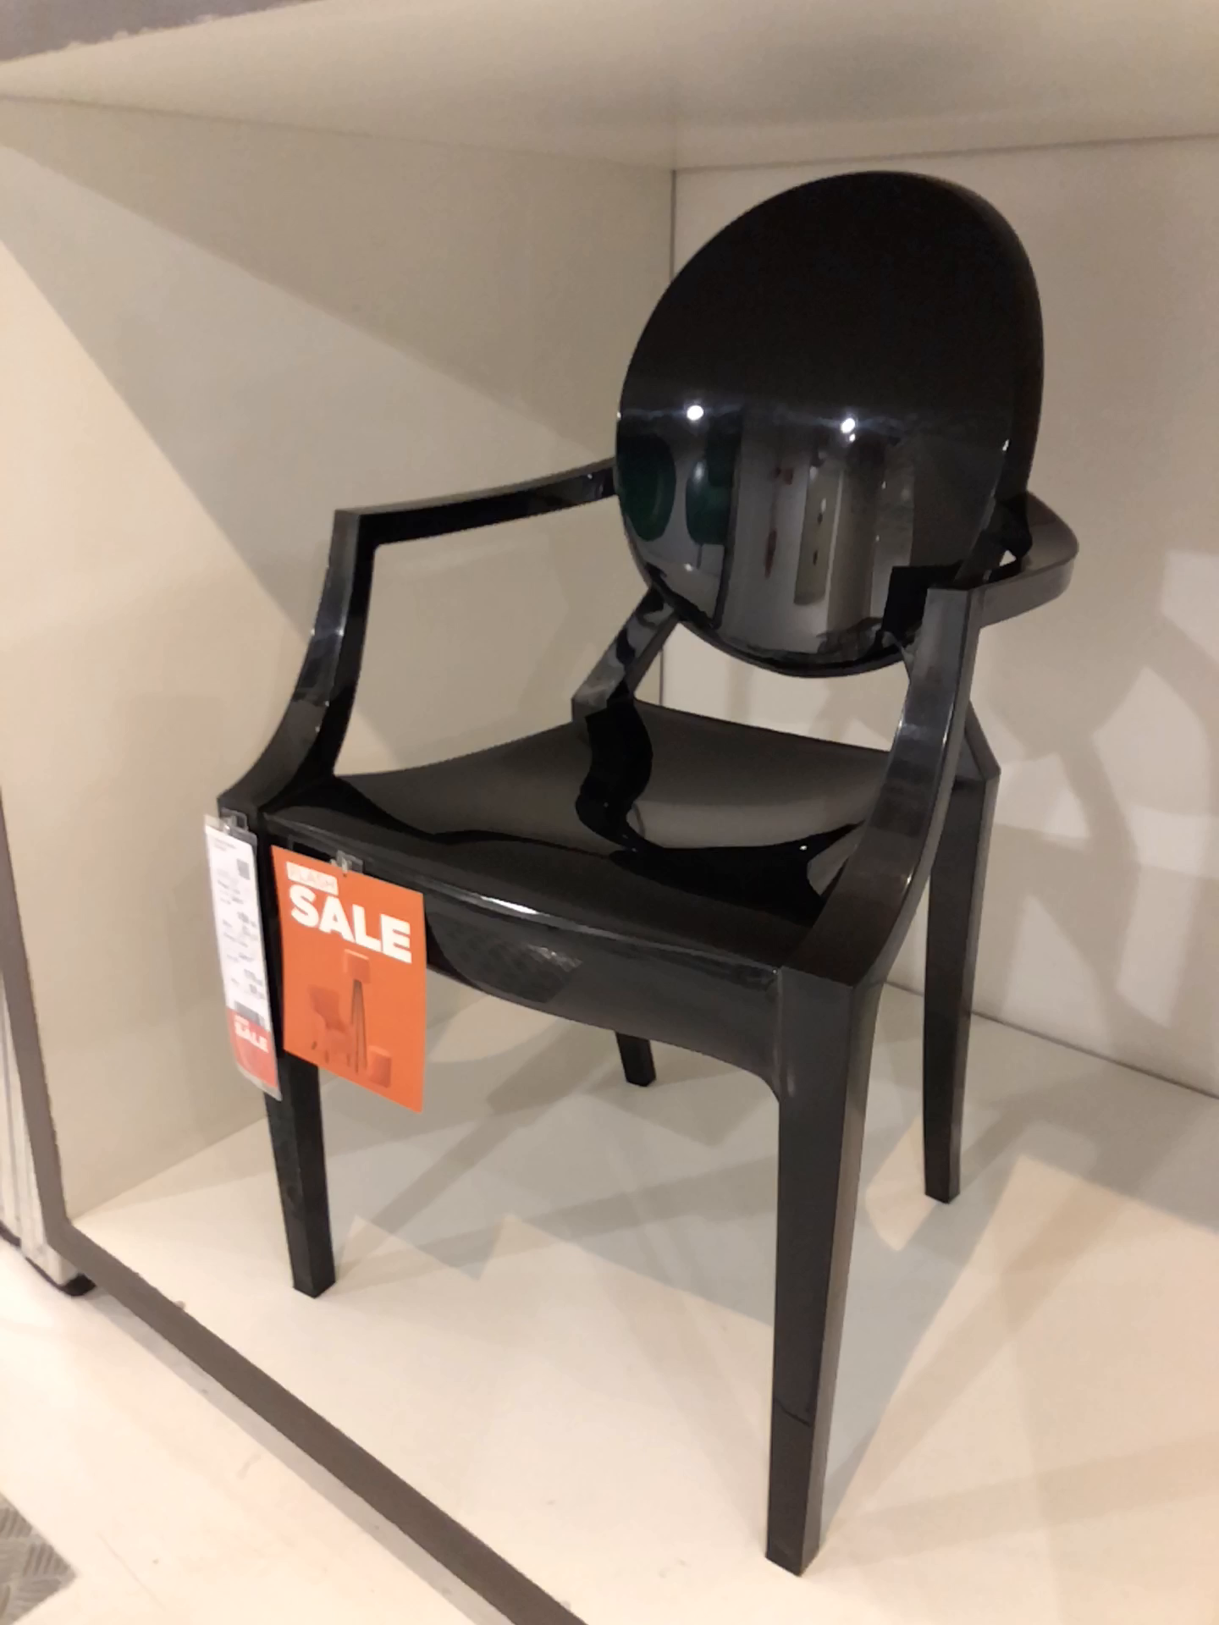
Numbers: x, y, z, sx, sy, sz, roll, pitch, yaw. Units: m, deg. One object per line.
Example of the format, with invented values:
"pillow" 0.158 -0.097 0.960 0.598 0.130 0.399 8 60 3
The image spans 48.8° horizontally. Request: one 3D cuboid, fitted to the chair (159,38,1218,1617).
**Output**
"chair" 0.082 -0.031 1.003 0.511 0.854 0.492 14 25 33
